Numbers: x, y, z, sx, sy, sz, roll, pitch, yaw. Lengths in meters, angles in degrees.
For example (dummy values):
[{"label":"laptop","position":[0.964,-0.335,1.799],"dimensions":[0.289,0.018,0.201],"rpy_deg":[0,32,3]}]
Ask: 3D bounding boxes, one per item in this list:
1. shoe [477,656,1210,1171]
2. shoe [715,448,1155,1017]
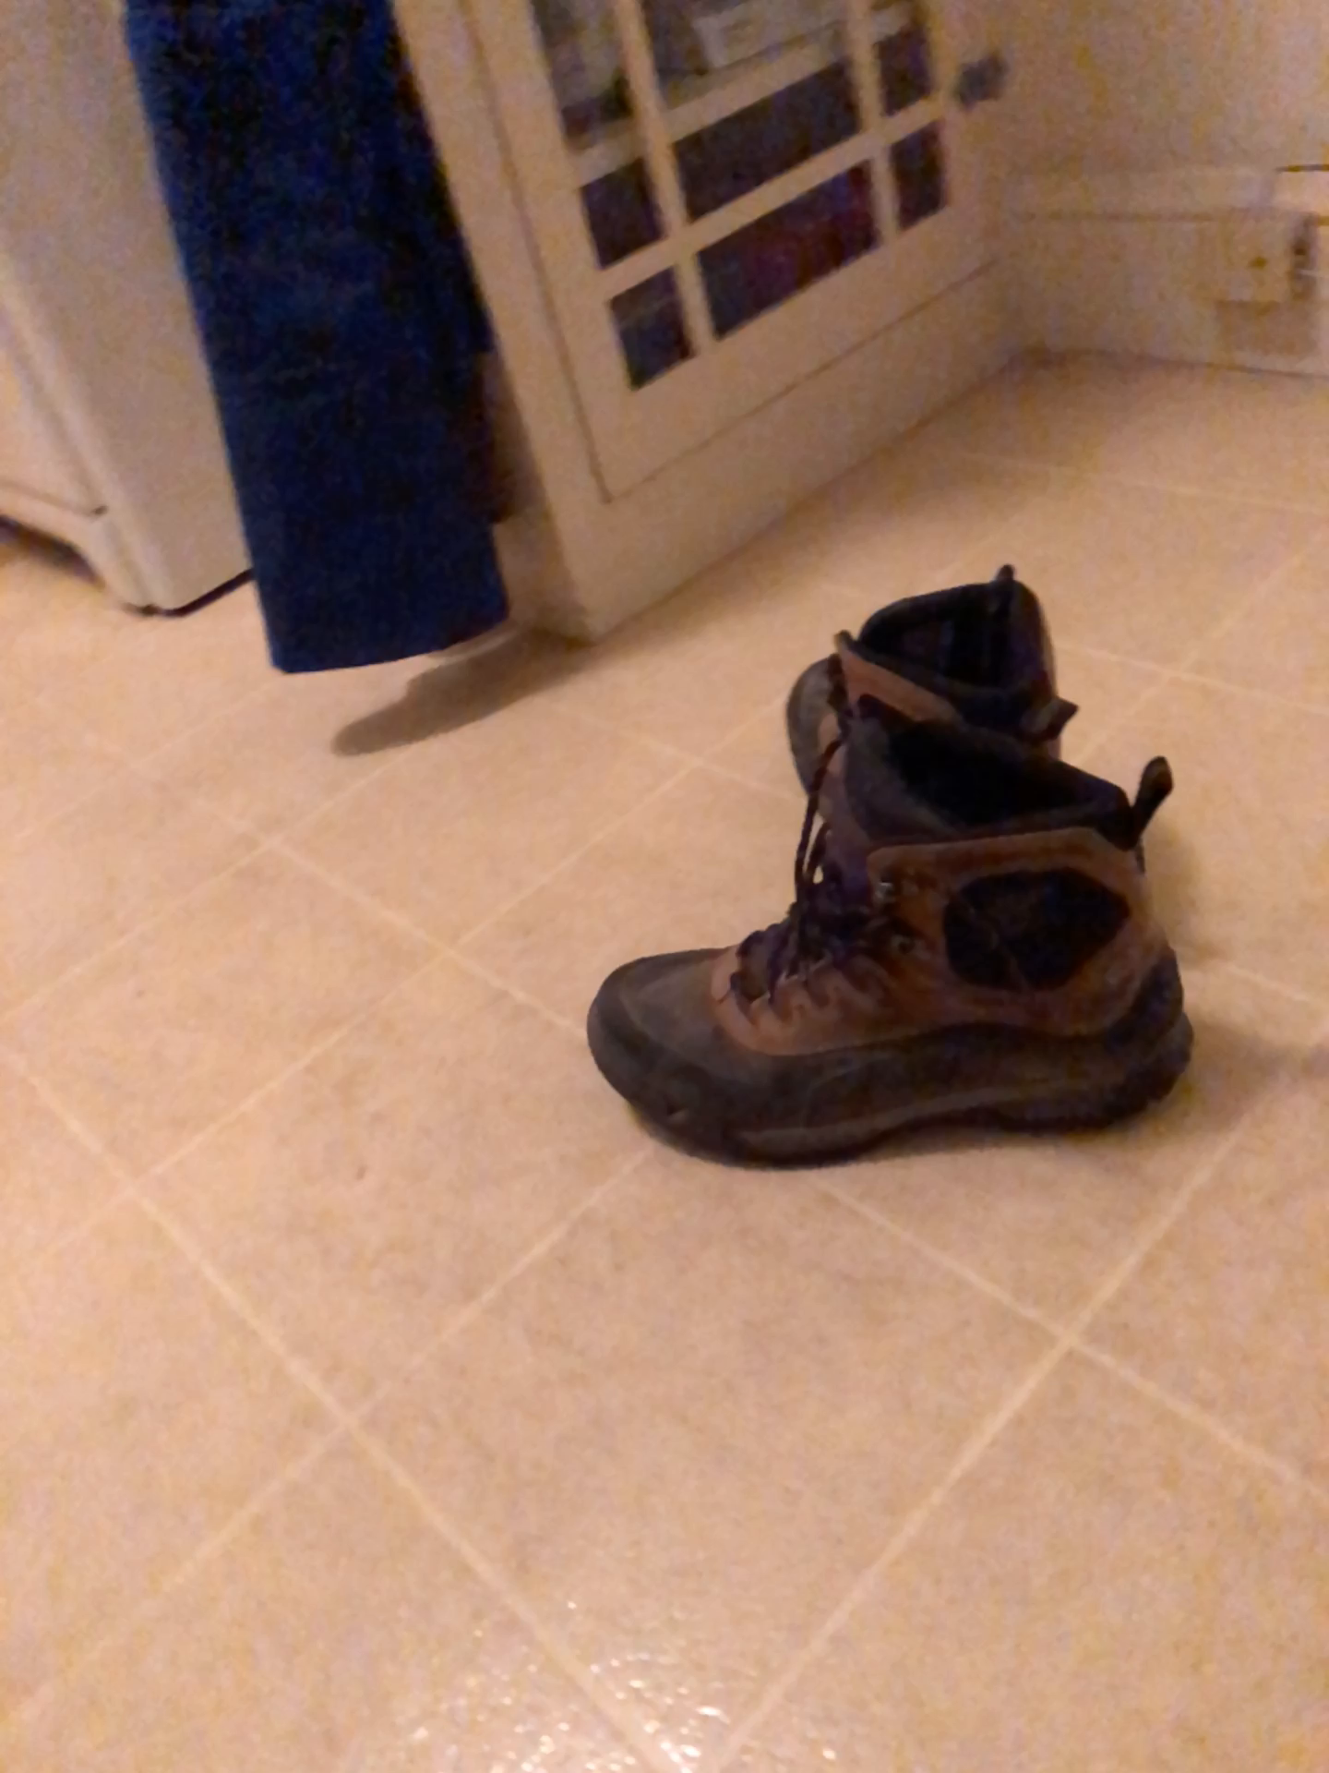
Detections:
[{"label":"shoe","position":[0.093,0.021,0.696],"dimensions":[0.299,0.185,0.122],"rpy_deg":[-6,38,15]},{"label":"shoe","position":[0.146,-0.101,0.832],"dimensions":[0.113,0.185,0.294],"rpy_deg":[-21,37,-5]}]
